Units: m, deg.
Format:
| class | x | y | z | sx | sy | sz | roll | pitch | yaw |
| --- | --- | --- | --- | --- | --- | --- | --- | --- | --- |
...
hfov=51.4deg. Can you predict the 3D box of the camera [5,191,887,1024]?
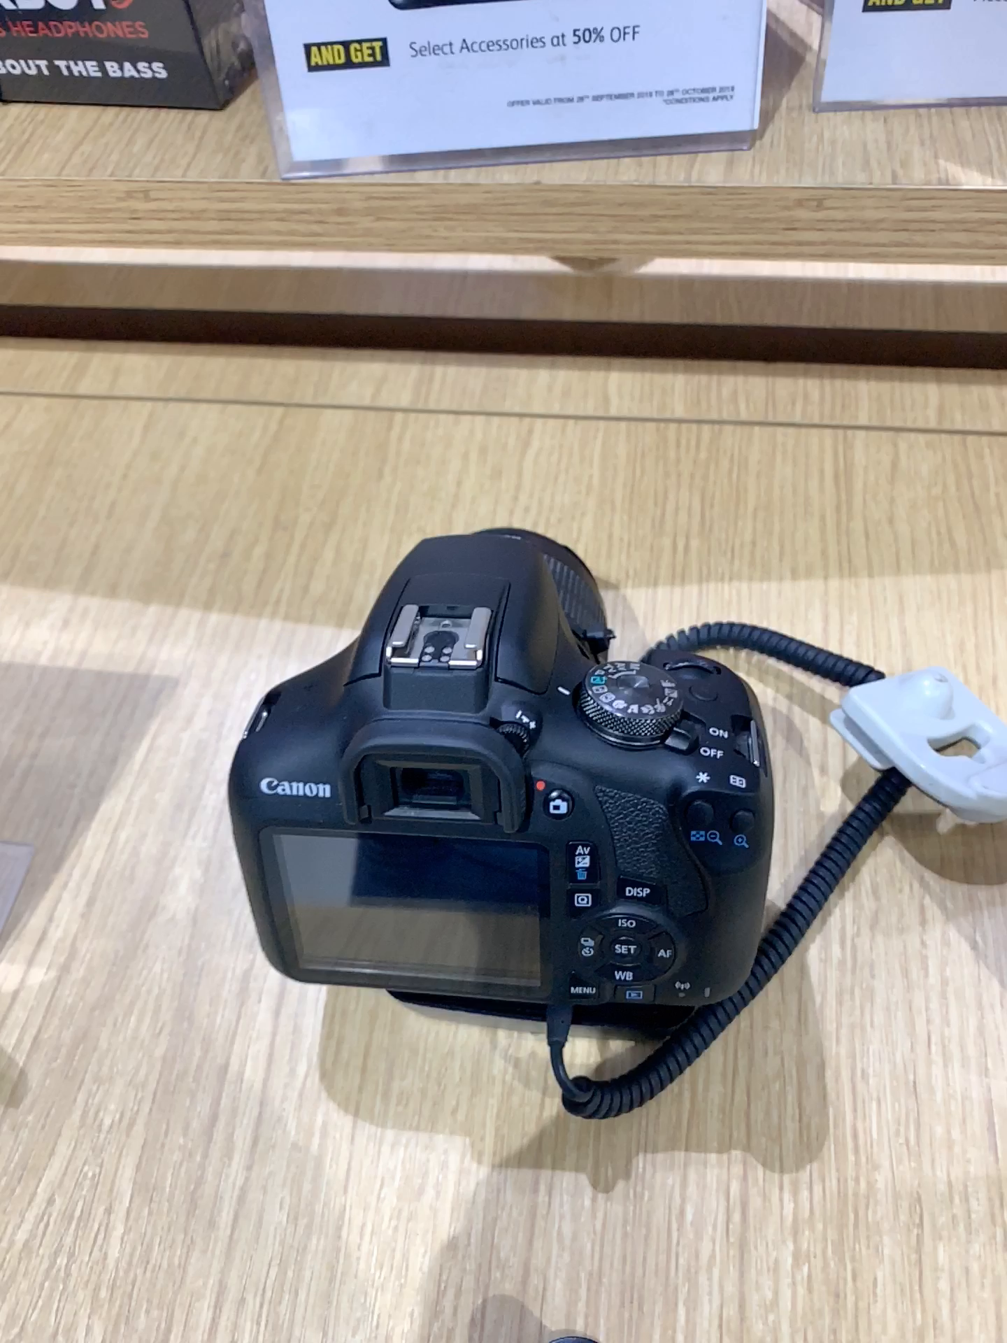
| class | x | y | z | sx | sy | sz | roll | pitch | yaw |
| --- | --- | --- | --- | --- | --- | --- | --- | --- | --- |
| camera | 0.000 | -0.017 | 0.253 | 0.140 | 0.110 | 0.160 | 3 | 57 | 7 |
